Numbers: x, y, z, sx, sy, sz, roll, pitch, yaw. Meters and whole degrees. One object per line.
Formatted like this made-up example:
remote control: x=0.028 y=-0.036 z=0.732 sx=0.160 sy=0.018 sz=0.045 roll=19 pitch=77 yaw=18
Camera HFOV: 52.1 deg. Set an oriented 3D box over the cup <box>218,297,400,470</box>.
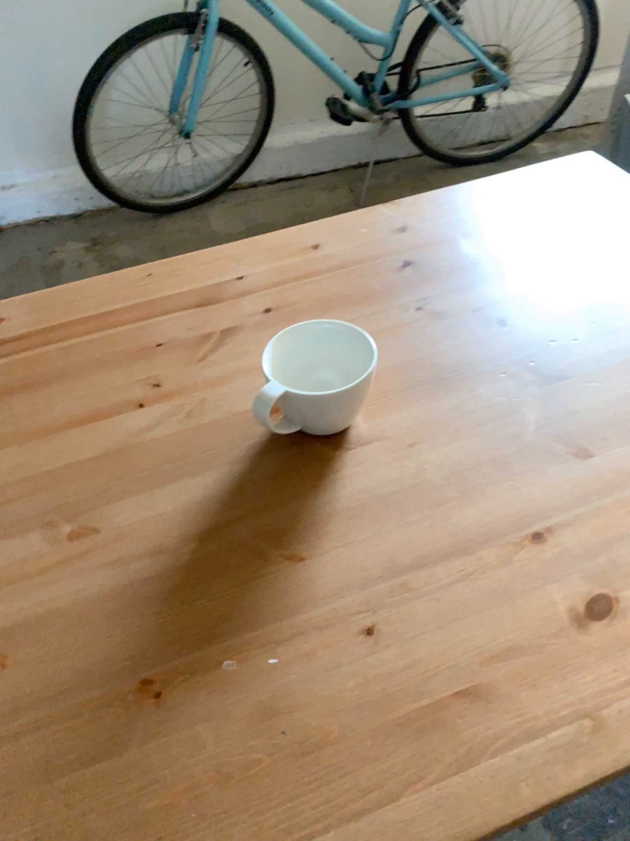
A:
cup: x=-0.005 y=-0.039 z=0.622 sx=0.130 sy=0.070 sz=0.111 roll=-27 pitch=51 yaw=-19
